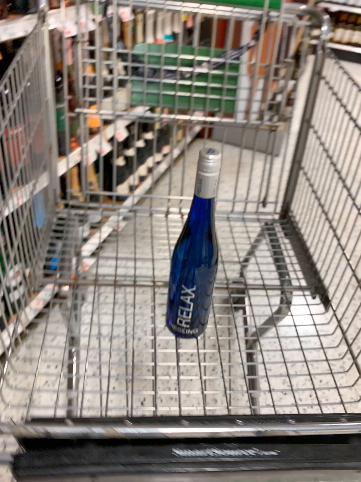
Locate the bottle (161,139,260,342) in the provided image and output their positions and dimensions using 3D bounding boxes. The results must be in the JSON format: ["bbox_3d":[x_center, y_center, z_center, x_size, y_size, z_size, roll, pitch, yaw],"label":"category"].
[{"bbox_3d":[0.028,0.017,0.554,0.090,0.307,0.091,5,38,-4],"label":"bottle"}]
